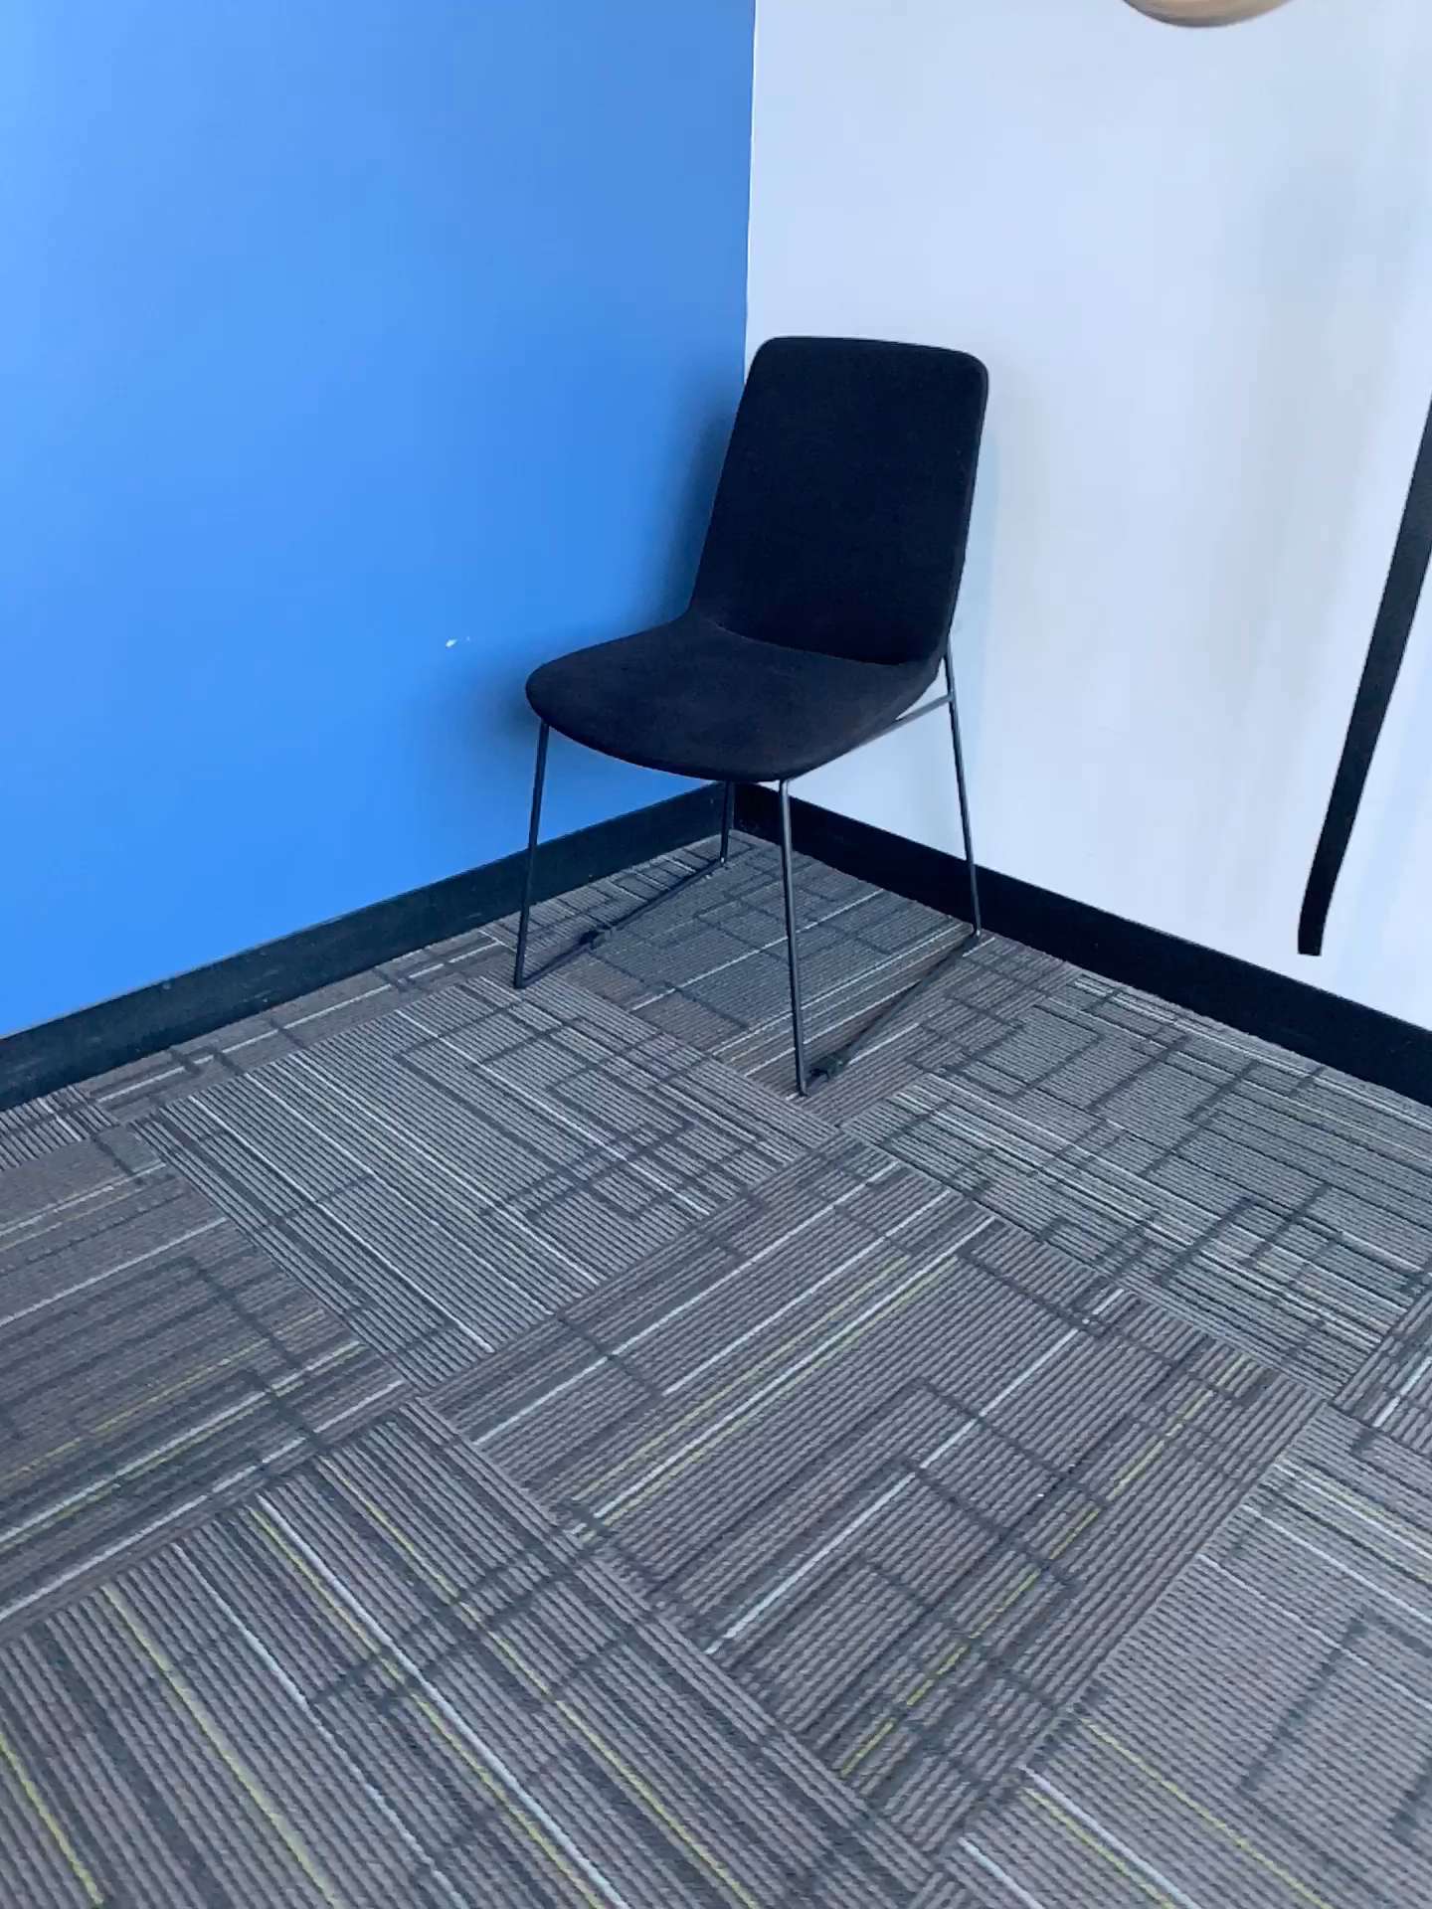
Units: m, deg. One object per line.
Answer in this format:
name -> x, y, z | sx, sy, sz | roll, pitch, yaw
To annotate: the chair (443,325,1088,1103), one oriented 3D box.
chair -> 0.067, -0.345, 1.830 | 0.501, 0.755, 0.582 | 18, 32, 29
